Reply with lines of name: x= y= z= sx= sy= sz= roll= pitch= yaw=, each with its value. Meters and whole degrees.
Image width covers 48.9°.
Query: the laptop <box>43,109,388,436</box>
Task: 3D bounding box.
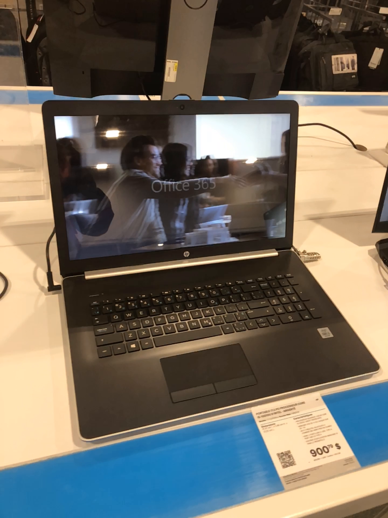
laptop: x=0.023 y=-0.027 z=0.609 sx=0.411 sy=0.242 sz=0.381 roll=-7 pitch=40 yaw=-17
